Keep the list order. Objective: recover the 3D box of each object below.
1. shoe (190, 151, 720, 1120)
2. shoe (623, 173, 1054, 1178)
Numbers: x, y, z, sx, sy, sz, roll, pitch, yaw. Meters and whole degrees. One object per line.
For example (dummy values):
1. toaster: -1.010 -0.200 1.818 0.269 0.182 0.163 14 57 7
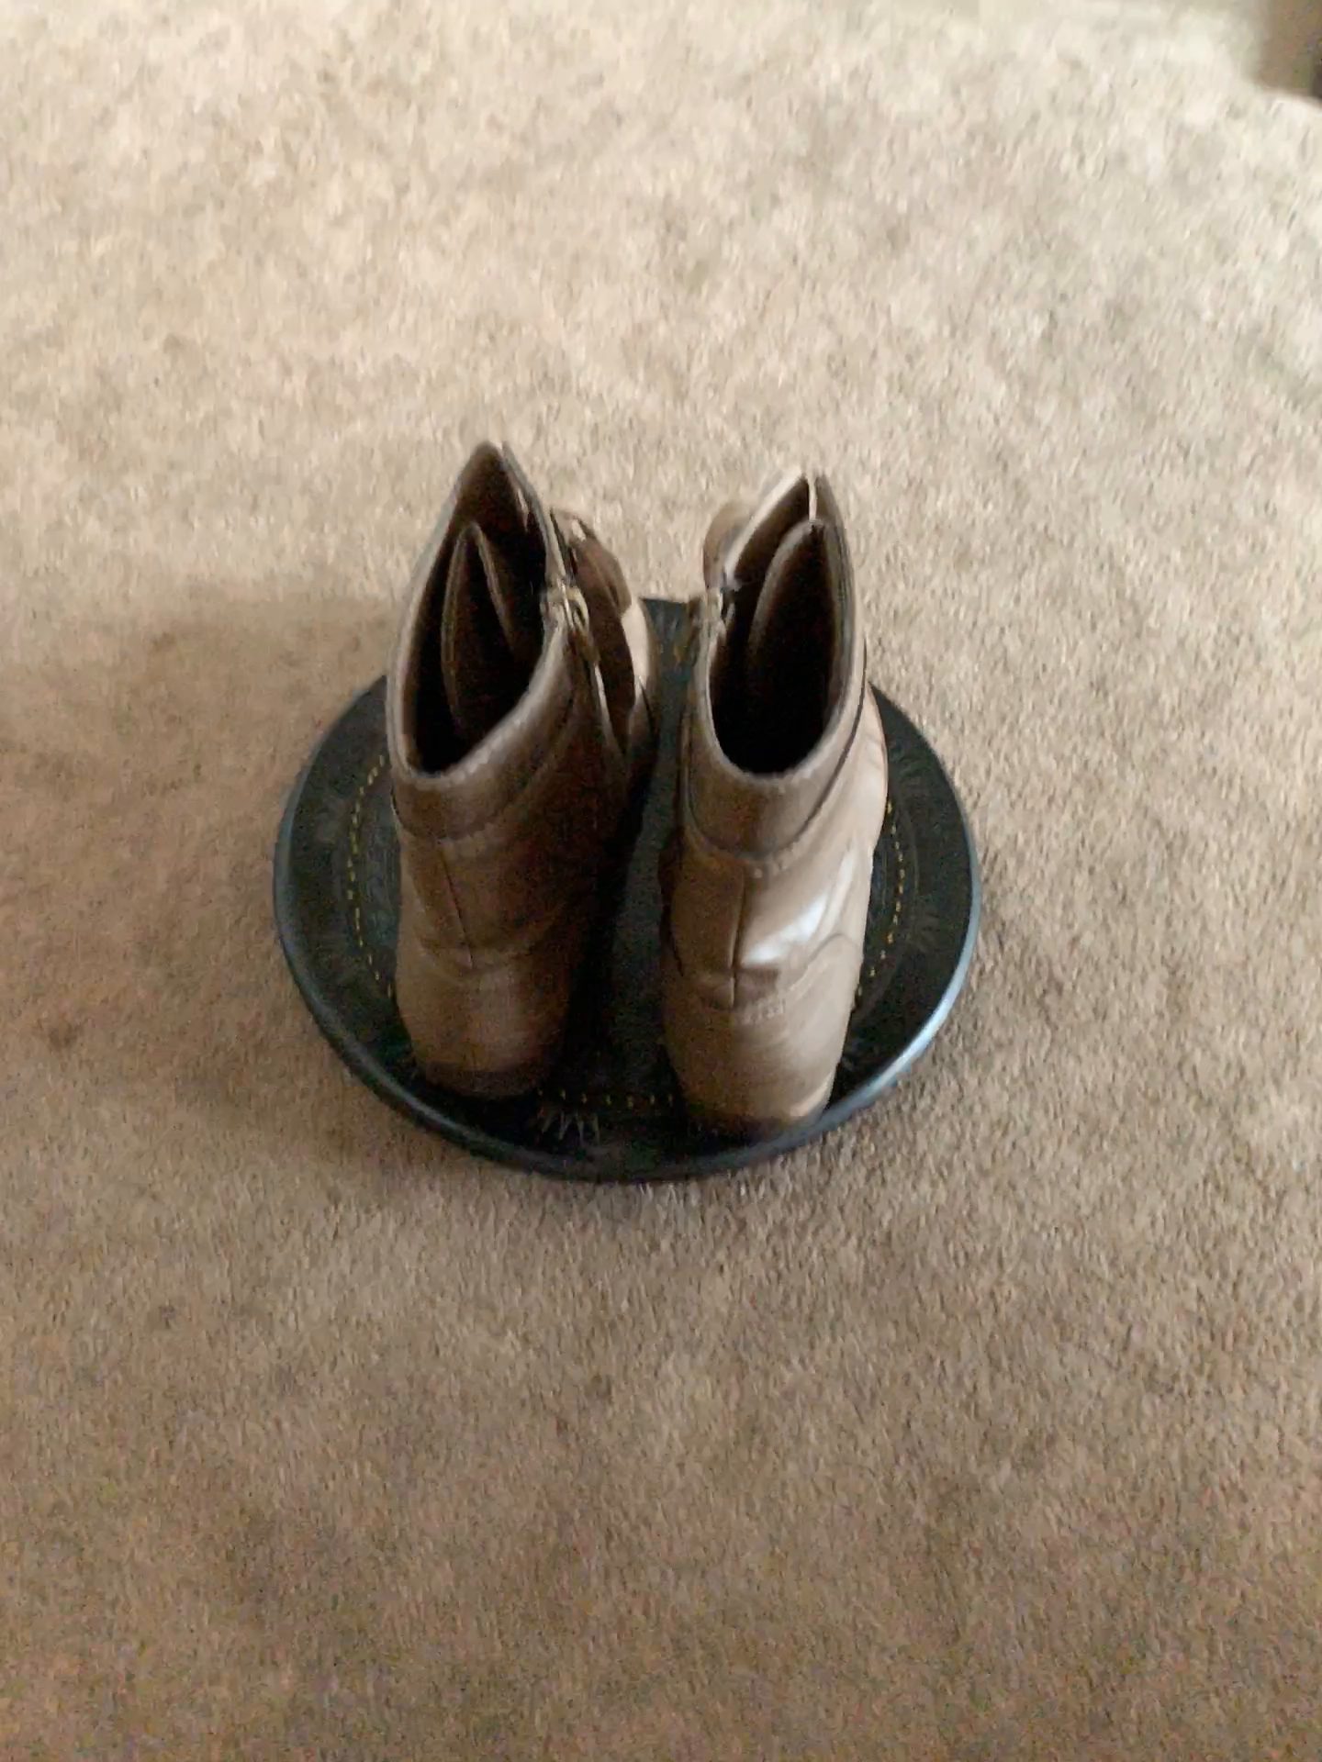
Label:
1. shoe: -0.049 -0.081 0.479 0.100 0.198 0.262 7 59 3
2. shoe: 0.056 -0.067 0.471 0.100 0.198 0.272 7 59 3
